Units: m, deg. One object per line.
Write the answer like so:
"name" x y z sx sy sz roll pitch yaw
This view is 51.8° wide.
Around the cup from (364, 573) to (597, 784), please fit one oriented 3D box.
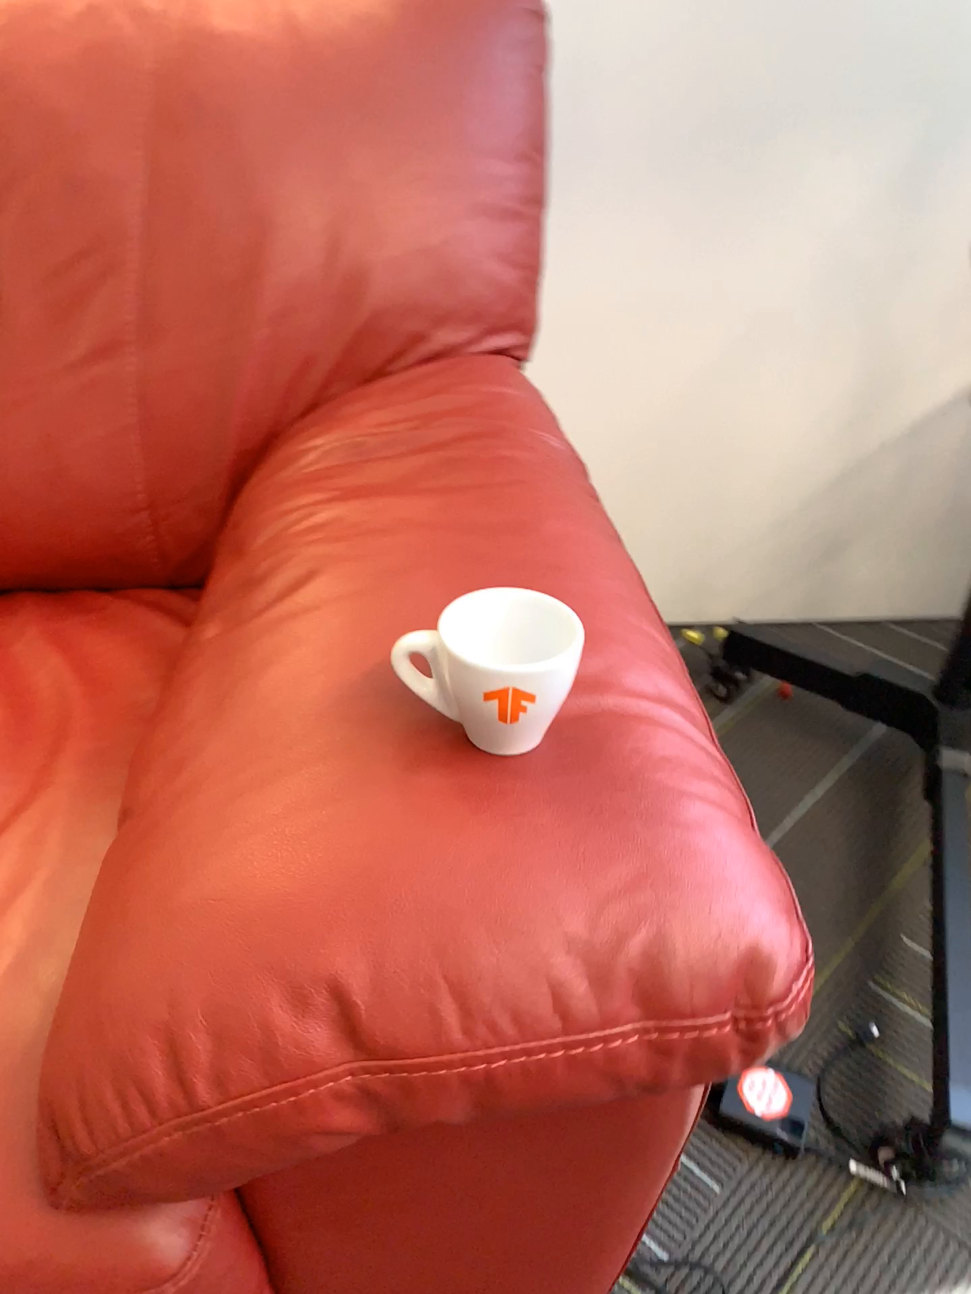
"cup" 0.000 0.013 0.438 0.090 0.060 0.060 5 38 7
